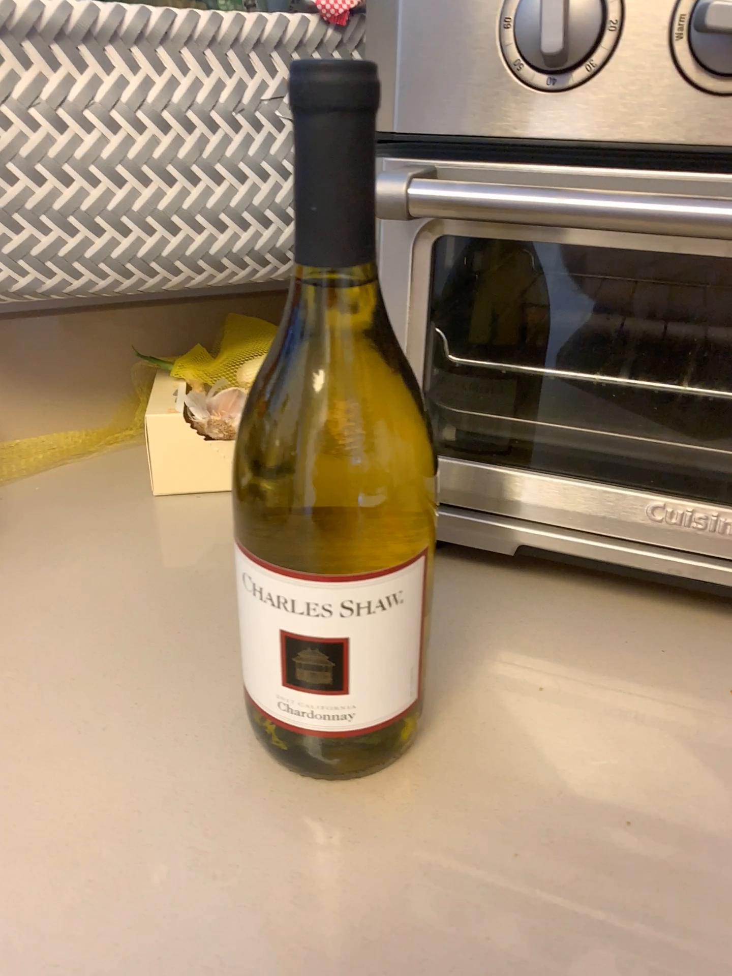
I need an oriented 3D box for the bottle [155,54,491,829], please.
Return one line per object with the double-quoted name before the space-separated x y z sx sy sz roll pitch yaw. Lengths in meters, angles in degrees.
"bottle" -0.011 -0.005 0.282 0.080 0.268 0.070 9 27 15
